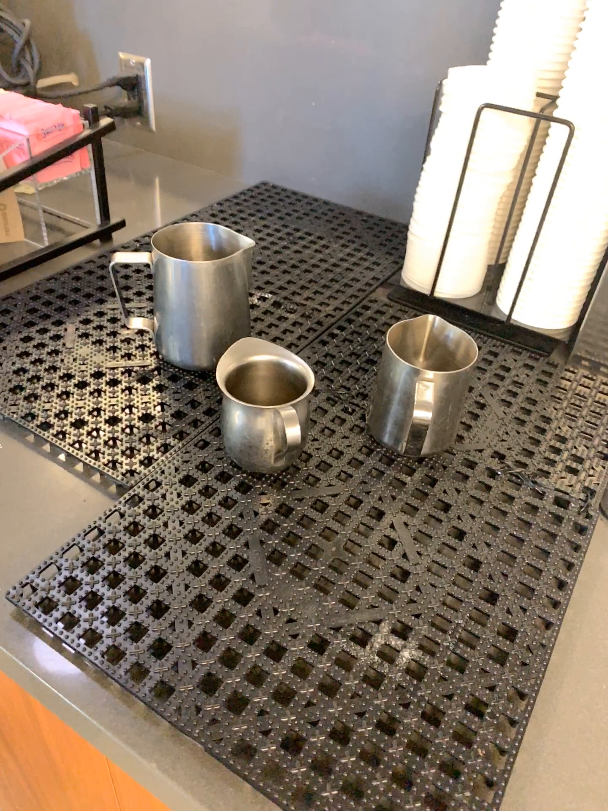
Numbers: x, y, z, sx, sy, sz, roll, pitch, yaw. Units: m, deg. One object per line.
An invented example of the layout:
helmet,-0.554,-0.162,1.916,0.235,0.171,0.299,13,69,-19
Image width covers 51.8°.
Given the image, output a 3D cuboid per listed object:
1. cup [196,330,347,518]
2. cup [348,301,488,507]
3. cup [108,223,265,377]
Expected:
cup,-0.028,0.009,0.451,0.070,0.070,0.111,-11,41,-20
cup,0.089,-0.006,0.474,0.080,0.080,0.131,12,39,8
cup,-0.100,-0.092,0.546,0.120,0.109,0.070,-3,39,-11
